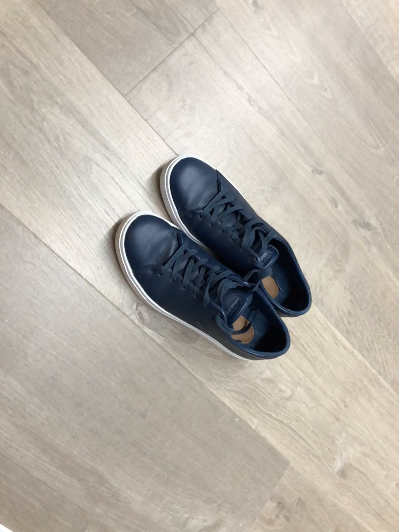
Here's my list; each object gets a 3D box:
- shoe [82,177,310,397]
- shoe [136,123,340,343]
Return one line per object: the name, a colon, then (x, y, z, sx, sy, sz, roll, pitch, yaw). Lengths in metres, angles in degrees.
shoe: (0.000, 0.029, 0.507, 0.247, 0.080, 0.100, 44, 72, -18)
shoe: (0.050, -0.032, 0.539, 0.100, 0.080, 0.247, -45, 106, -19)
